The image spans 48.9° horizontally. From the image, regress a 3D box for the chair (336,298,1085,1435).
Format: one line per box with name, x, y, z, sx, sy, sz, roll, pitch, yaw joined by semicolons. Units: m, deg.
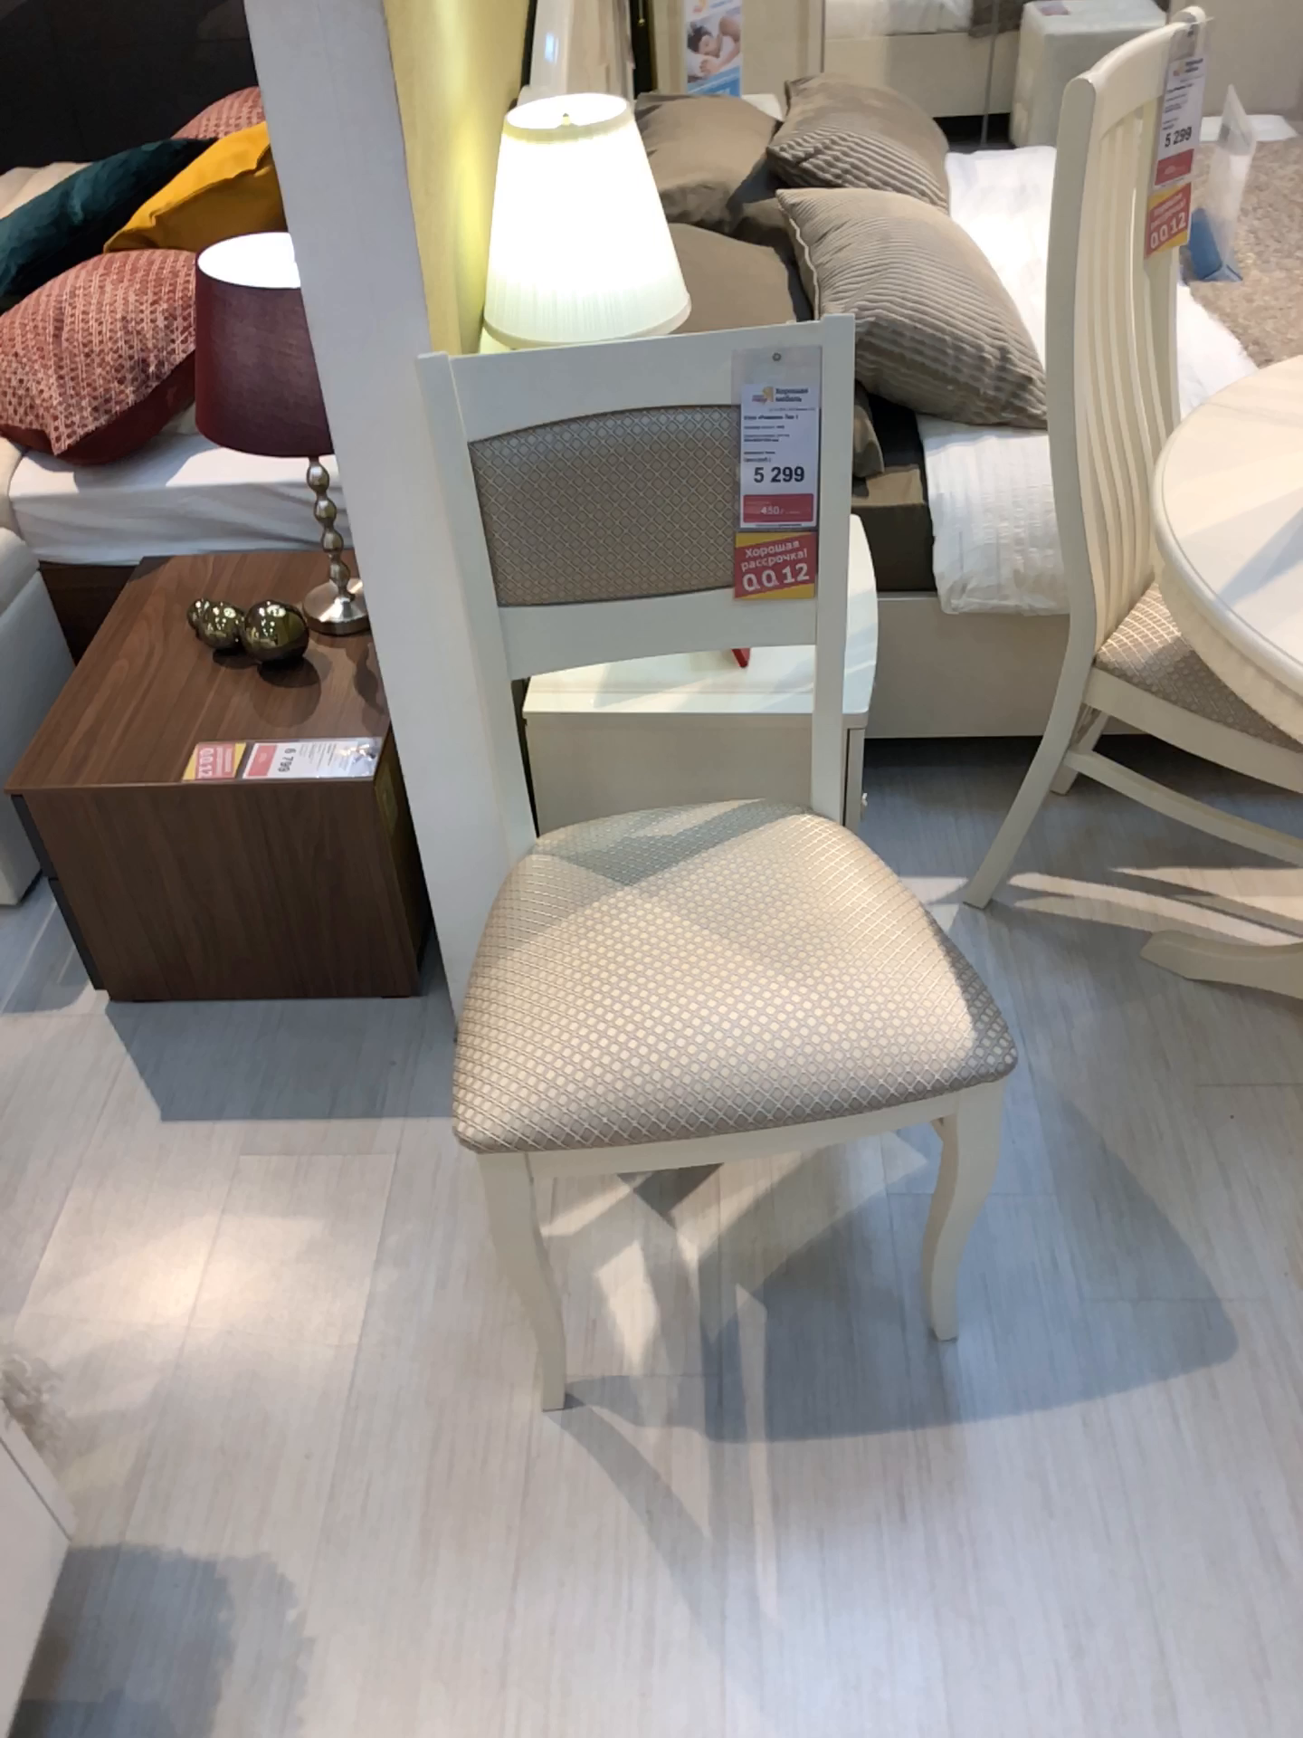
chair;0.031;0.040;1.370;0.470;0.946;0.474;-8;40;-5
